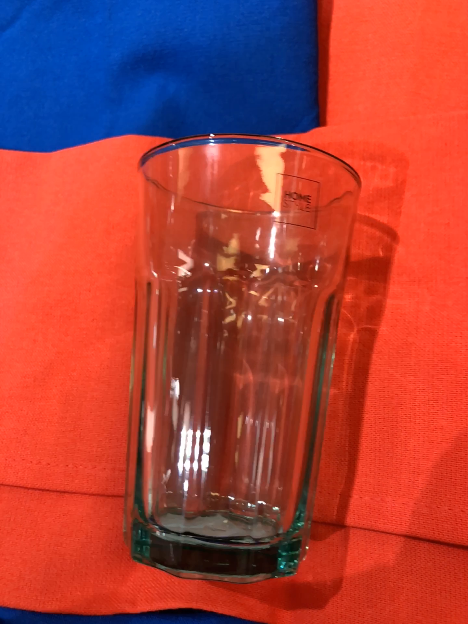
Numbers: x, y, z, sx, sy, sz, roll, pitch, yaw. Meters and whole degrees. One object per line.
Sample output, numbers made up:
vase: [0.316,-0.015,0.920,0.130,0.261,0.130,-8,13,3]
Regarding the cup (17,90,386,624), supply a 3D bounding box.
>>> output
cup: [0.000,0.017,0.179,0.090,0.070,0.150,3,80,18]
